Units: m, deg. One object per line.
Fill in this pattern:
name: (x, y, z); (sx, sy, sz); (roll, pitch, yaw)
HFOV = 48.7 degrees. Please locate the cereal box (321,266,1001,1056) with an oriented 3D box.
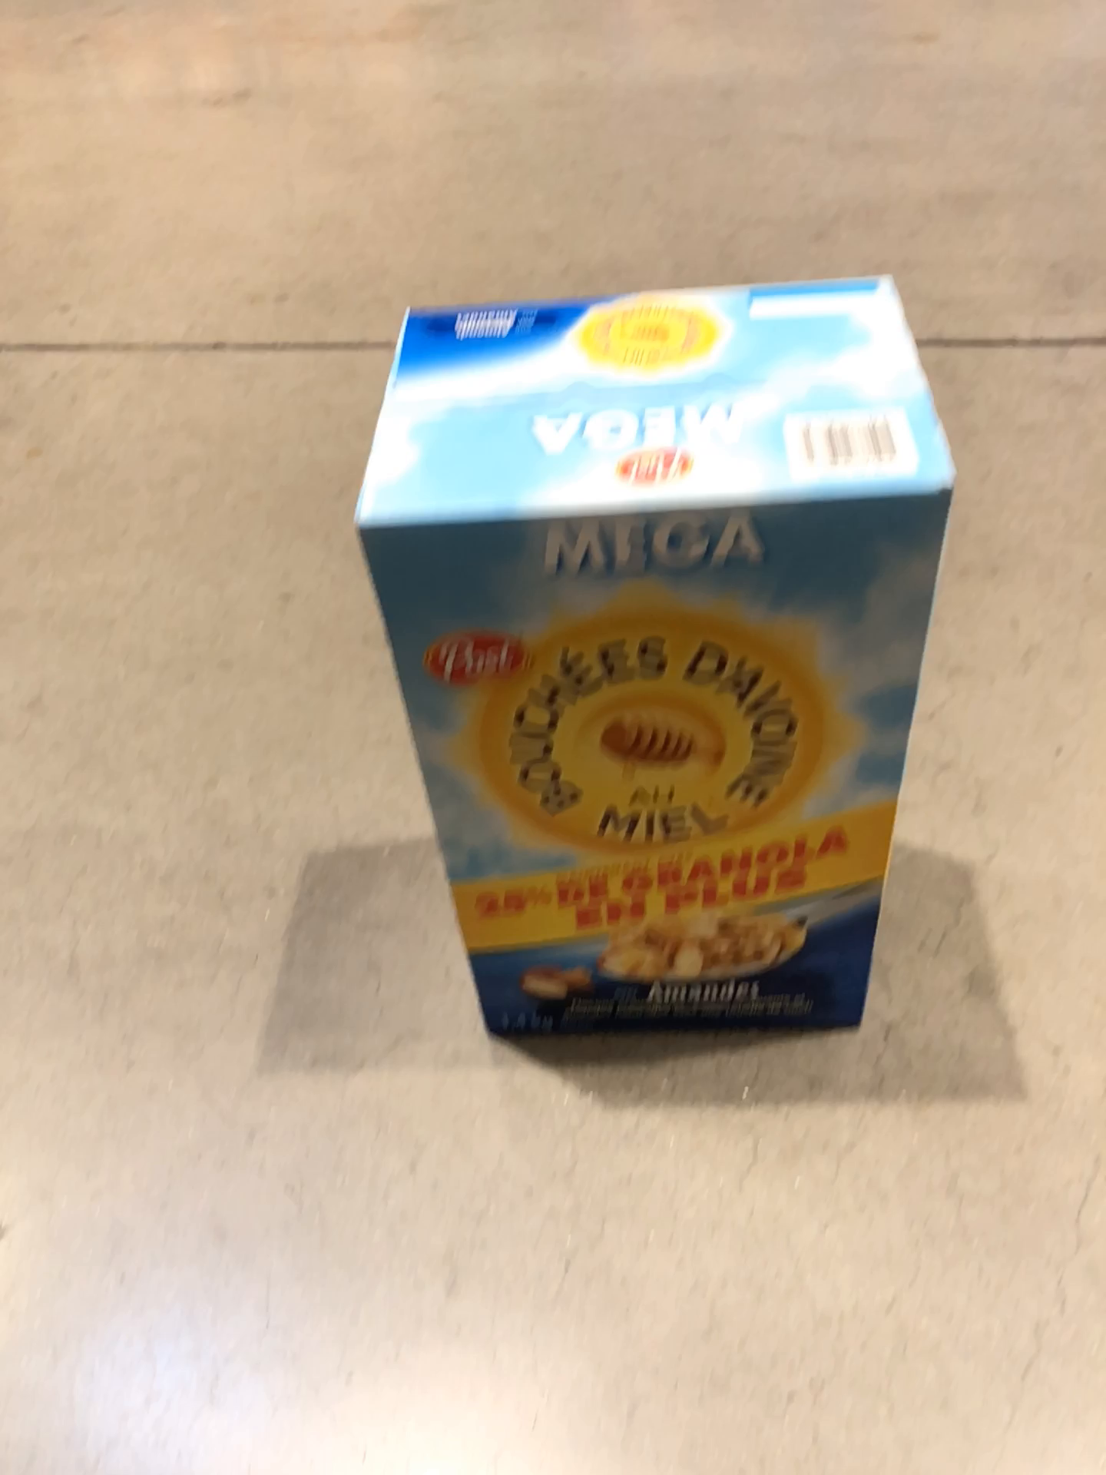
cereal box: (0.048, -0.010, 0.549); (0.210, 0.329, 0.150); (-3, 46, 5)
